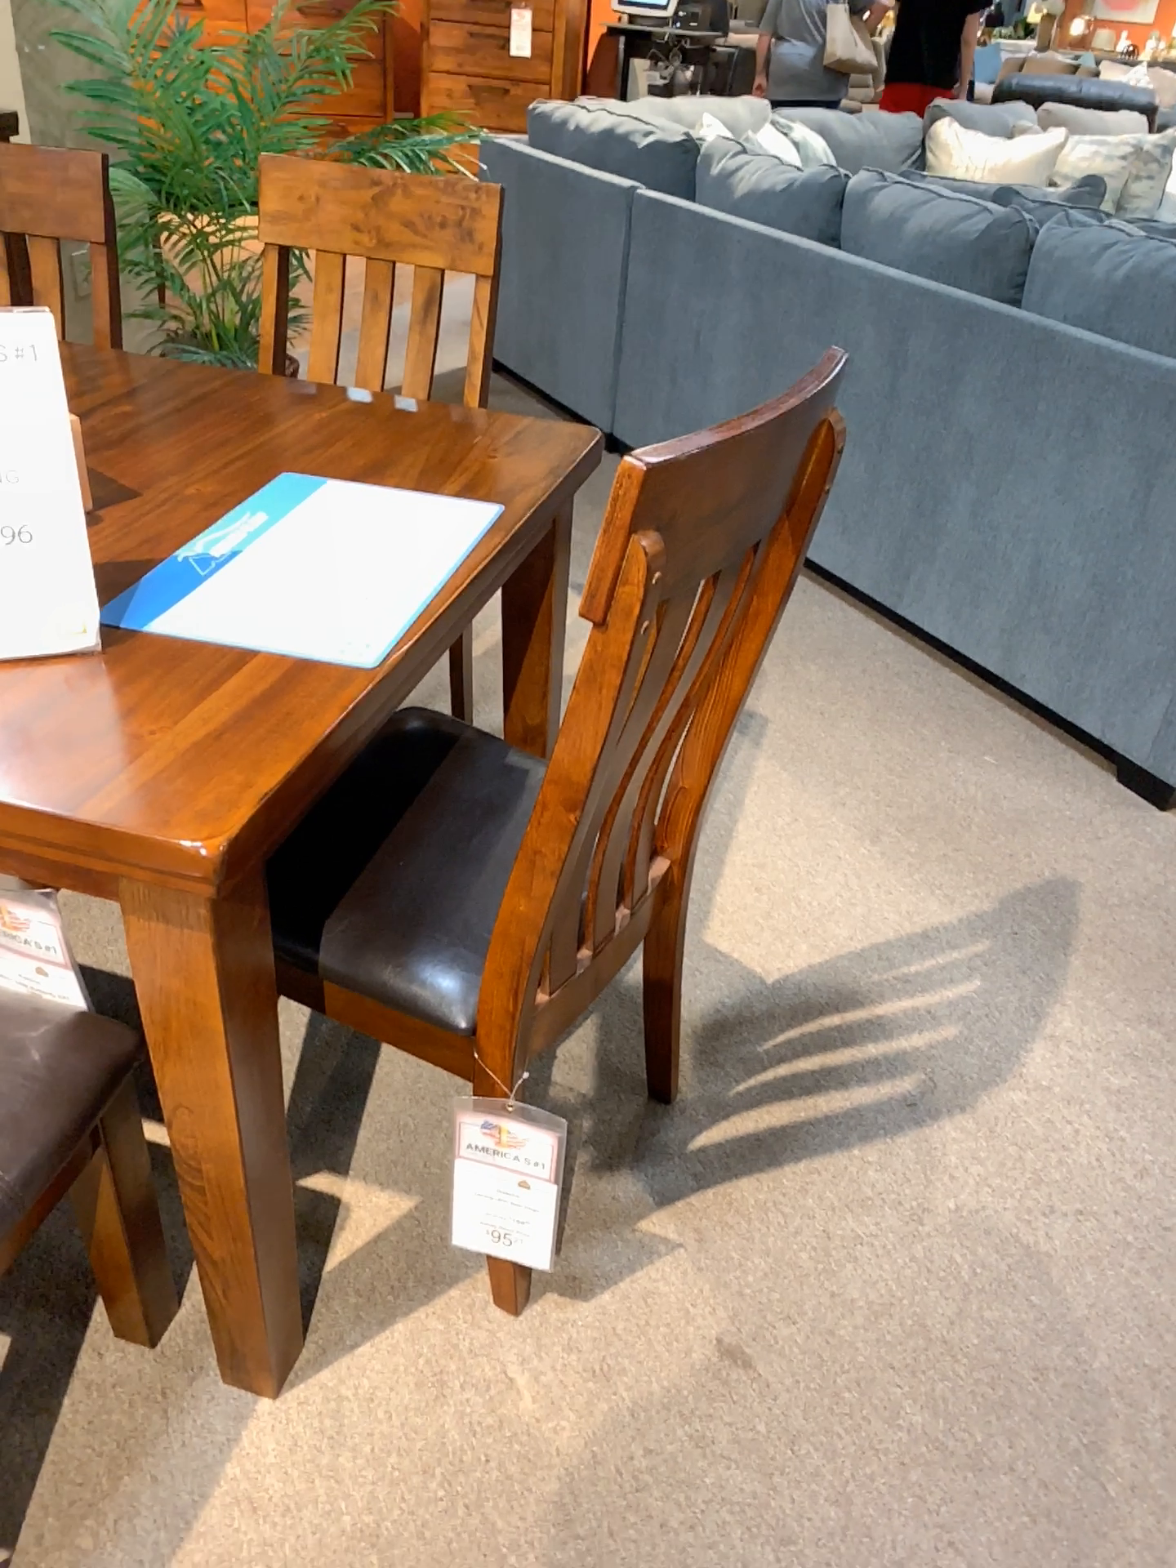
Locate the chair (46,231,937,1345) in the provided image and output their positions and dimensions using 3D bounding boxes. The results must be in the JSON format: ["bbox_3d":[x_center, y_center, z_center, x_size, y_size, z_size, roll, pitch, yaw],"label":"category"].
[{"bbox_3d":[-0.084,-0.024,1.250,0.540,0.890,0.533,22,37,23],"label":"chair"}]

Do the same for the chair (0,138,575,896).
[{"bbox_3d":[-0.402,-0.403,1.778,0.591,0.890,0.532,11,34,9],"label":"chair"}]
